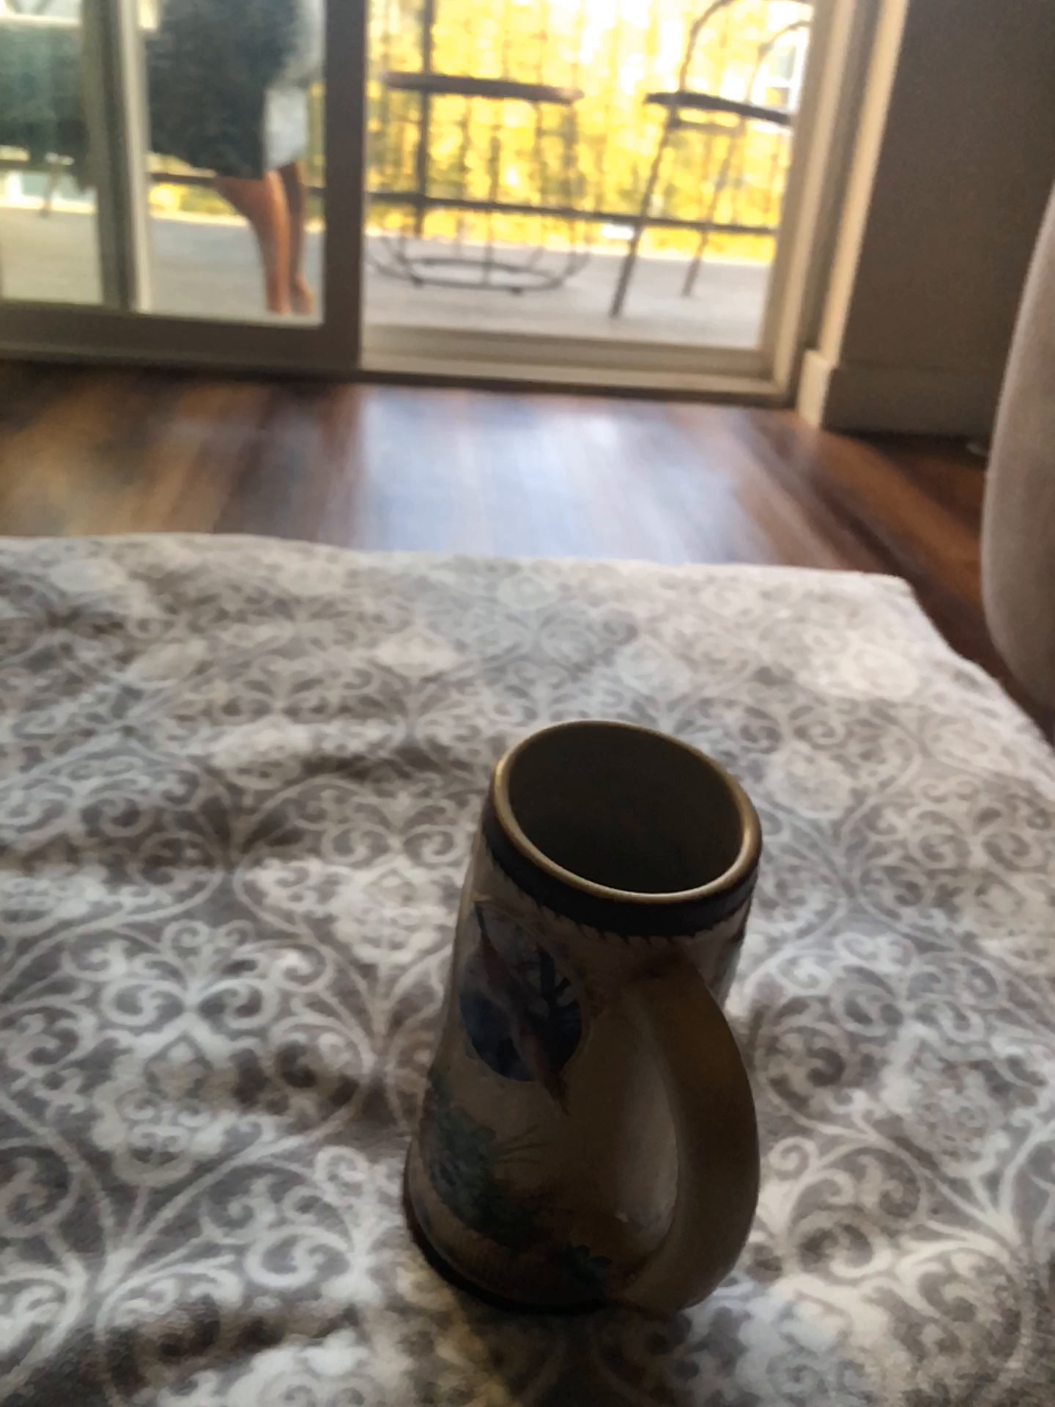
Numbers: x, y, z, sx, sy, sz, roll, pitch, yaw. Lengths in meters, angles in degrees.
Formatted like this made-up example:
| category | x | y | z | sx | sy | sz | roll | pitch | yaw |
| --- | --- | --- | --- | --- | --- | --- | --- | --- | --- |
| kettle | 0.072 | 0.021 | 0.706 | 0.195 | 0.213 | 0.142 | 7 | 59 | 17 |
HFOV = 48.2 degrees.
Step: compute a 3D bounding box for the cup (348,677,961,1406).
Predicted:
| category | x | y | z | sx | sy | sz | roll | pitch | yaw |
| --- | --- | --- | --- | --- | --- | --- | --- | --- | --- |
| cup | 0.017 | 0.116 | 0.366 | 0.099 | 0.188 | 0.145 | -8 | 39 | -23 |
